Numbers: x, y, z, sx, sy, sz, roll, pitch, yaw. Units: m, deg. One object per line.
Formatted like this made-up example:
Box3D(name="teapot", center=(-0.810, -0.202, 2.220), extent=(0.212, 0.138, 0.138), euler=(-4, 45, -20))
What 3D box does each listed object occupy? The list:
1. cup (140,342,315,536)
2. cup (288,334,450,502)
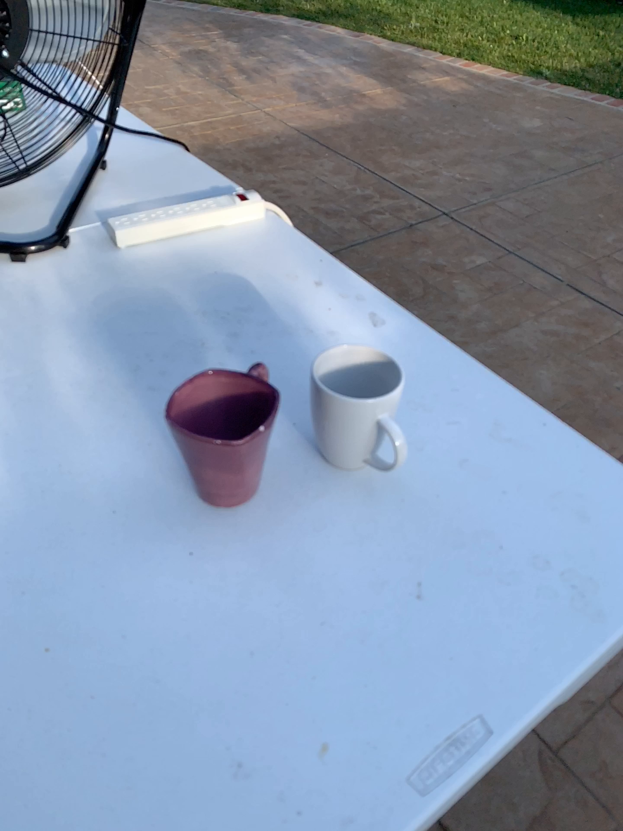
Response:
Box3D(name="cup", center=(-0.071, 0.017, 0.578), extent=(0.100, 0.090, 0.131), euler=(19, 45, 15))
Box3D(name="cup", center=(0.050, -0.001, 0.609), extent=(0.100, 0.080, 0.121), euler=(-18, 47, -22))
